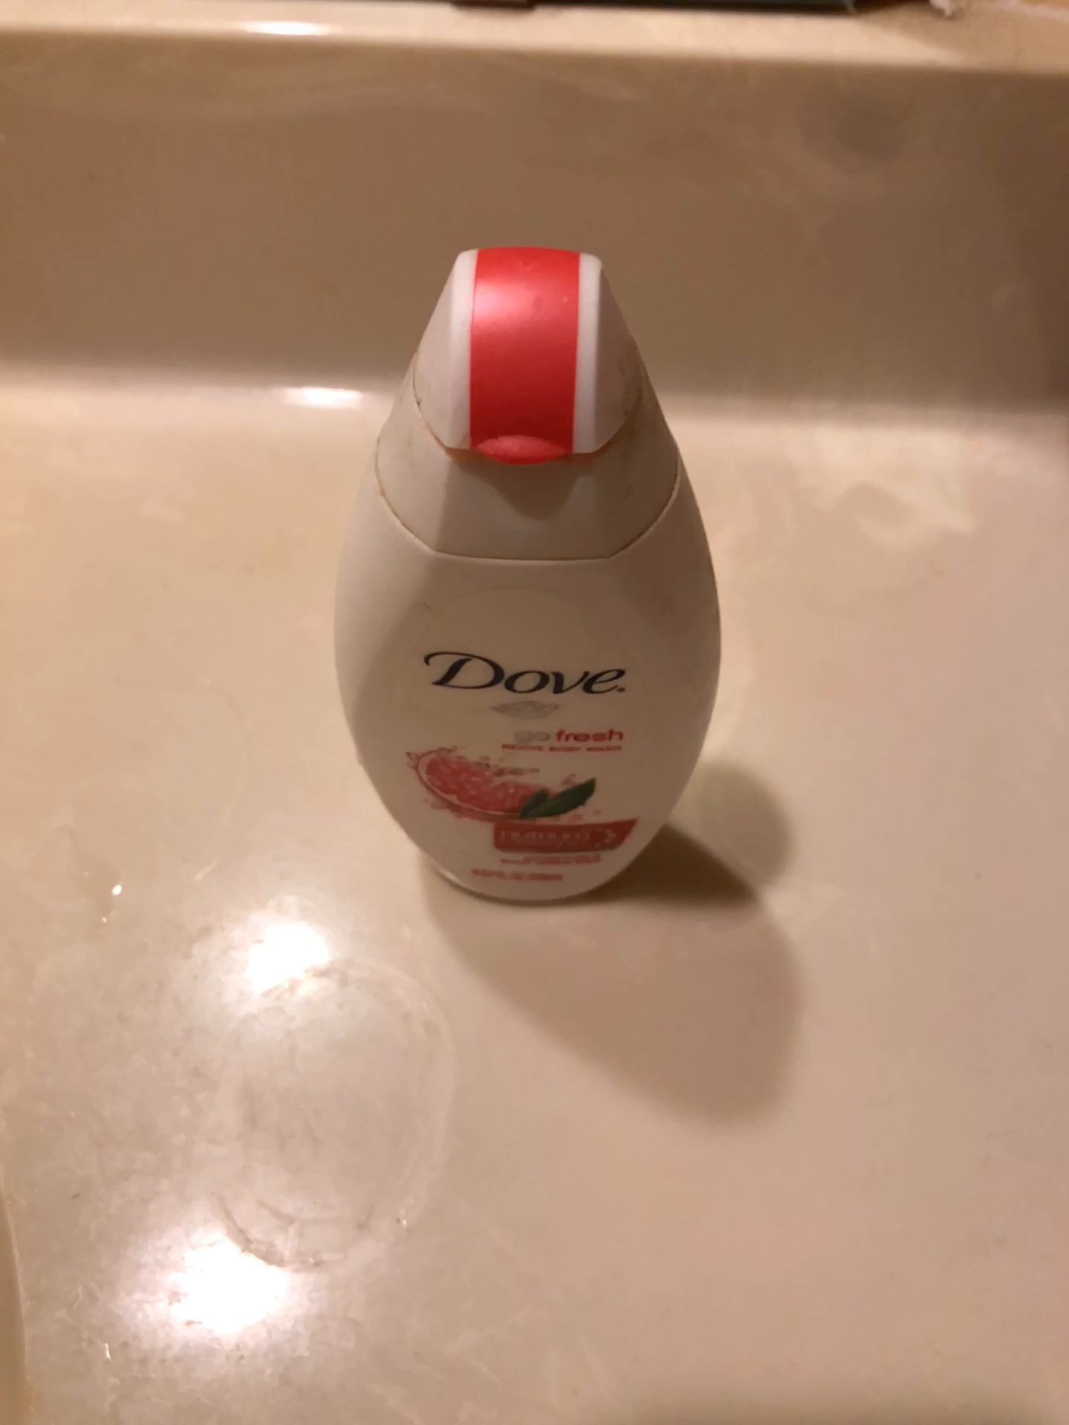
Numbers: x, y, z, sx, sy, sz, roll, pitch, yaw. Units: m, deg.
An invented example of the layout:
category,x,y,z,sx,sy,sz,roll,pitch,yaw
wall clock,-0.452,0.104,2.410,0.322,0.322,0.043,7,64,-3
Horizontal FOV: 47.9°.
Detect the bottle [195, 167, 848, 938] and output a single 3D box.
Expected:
category,x,y,z,sx,sy,sz,roll,pitch,yaw
bottle,-0.001,-0.009,0.208,0.070,0.160,0.040,4,61,2
